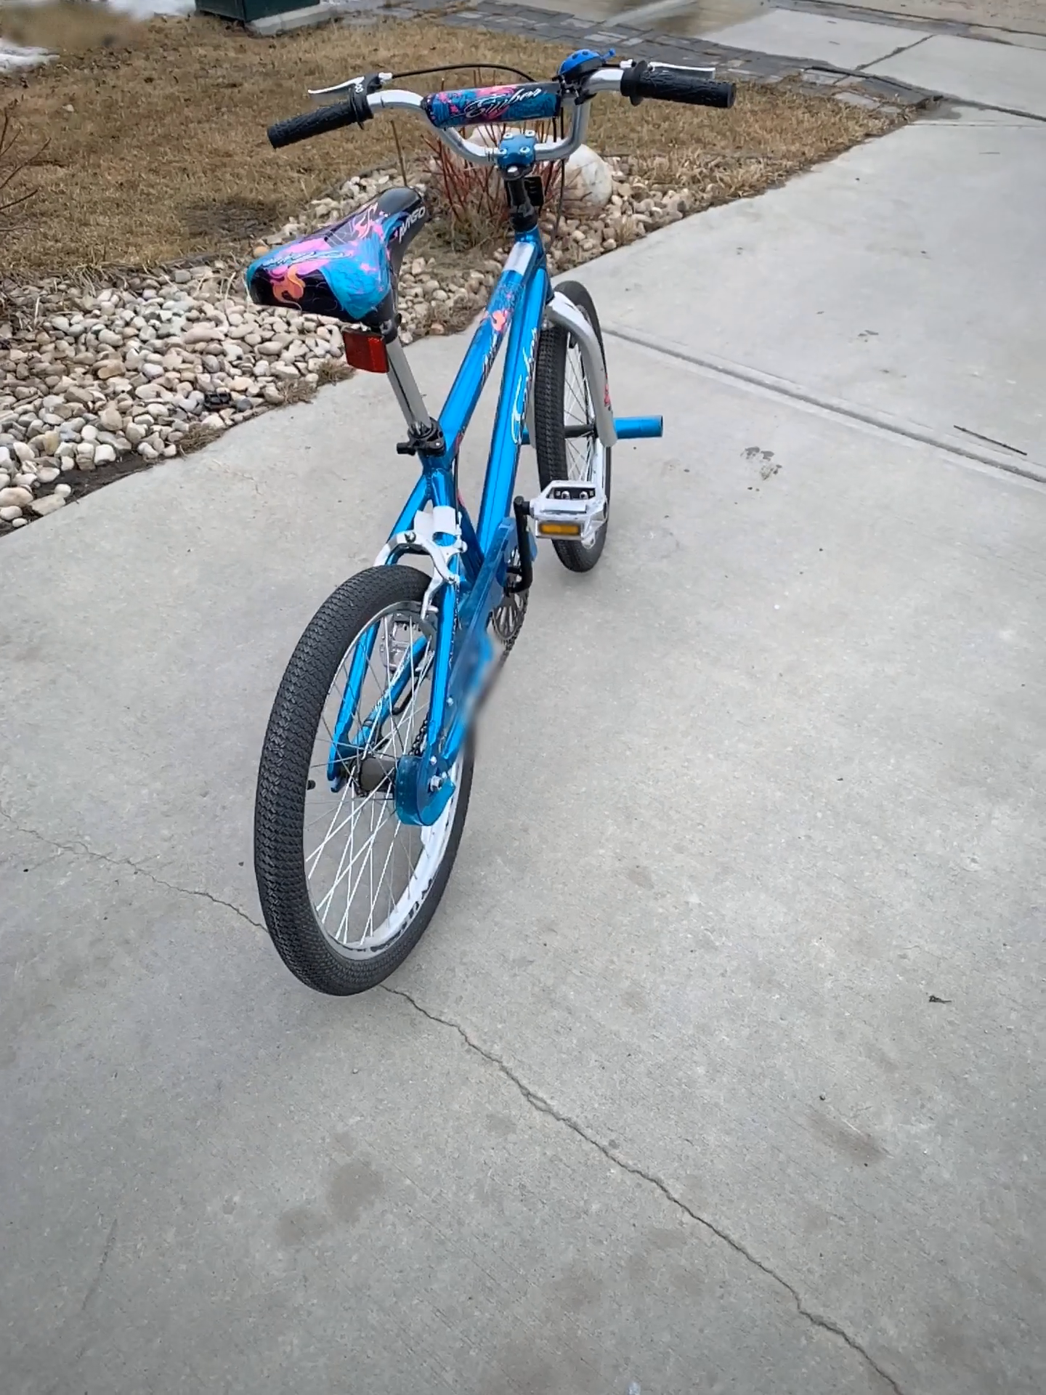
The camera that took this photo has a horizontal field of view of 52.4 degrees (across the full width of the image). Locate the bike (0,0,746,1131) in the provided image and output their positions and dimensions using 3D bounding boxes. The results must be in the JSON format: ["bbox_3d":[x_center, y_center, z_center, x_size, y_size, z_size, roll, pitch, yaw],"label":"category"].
[{"bbox_3d":[-0.154,-0.352,1.480,0.681,0.837,1.392,10,44,10],"label":"bike"}]
